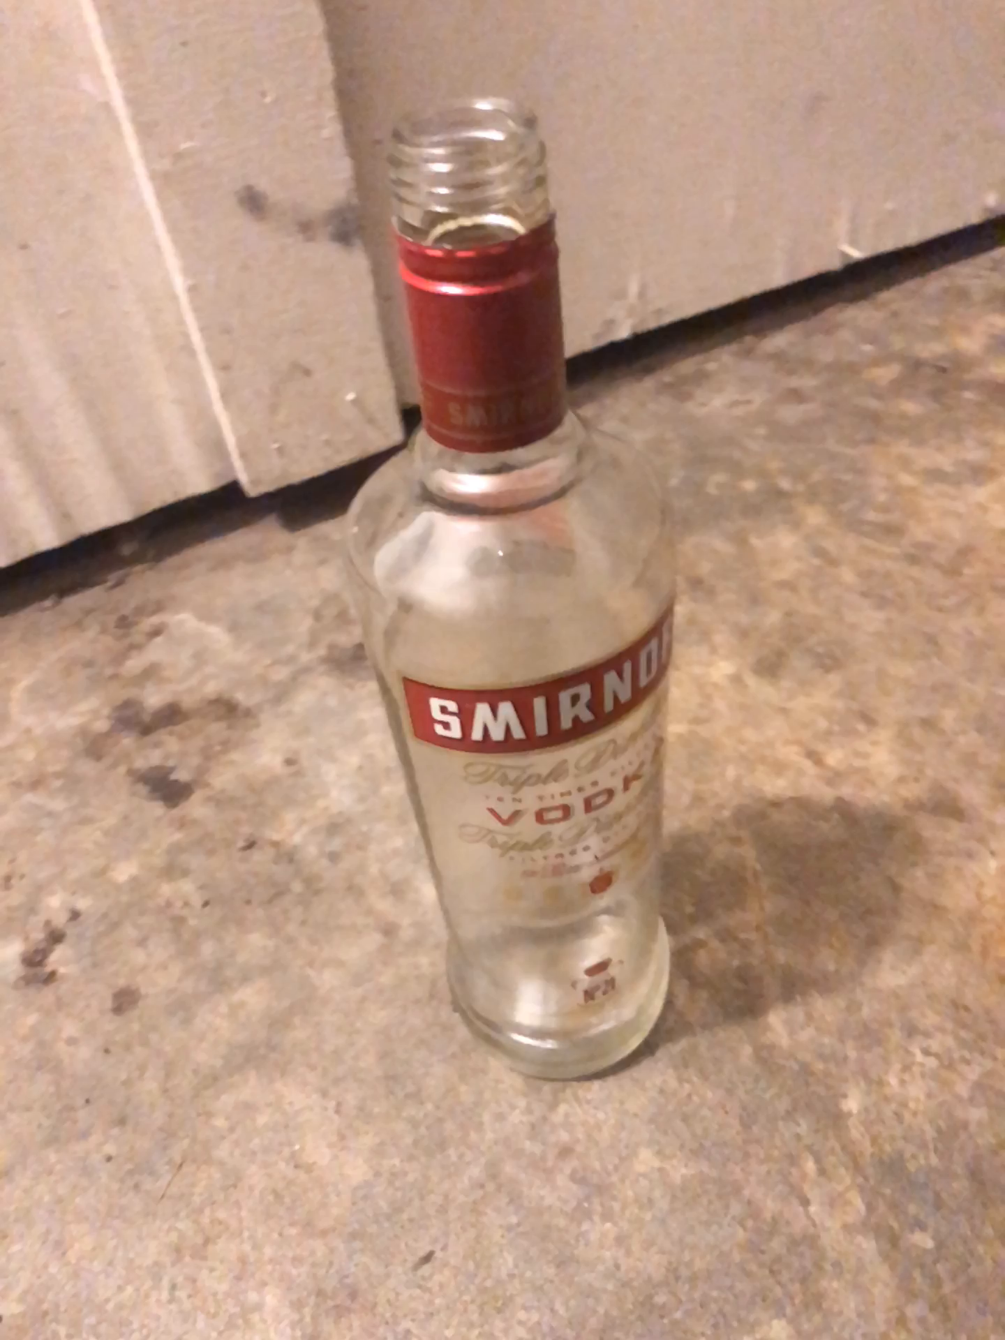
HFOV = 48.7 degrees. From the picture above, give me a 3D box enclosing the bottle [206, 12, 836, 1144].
[{"bbox_3d":[0.010,0.013,0.280,0.080,0.288,0.081,-4,46,4],"label":"bottle"}]
